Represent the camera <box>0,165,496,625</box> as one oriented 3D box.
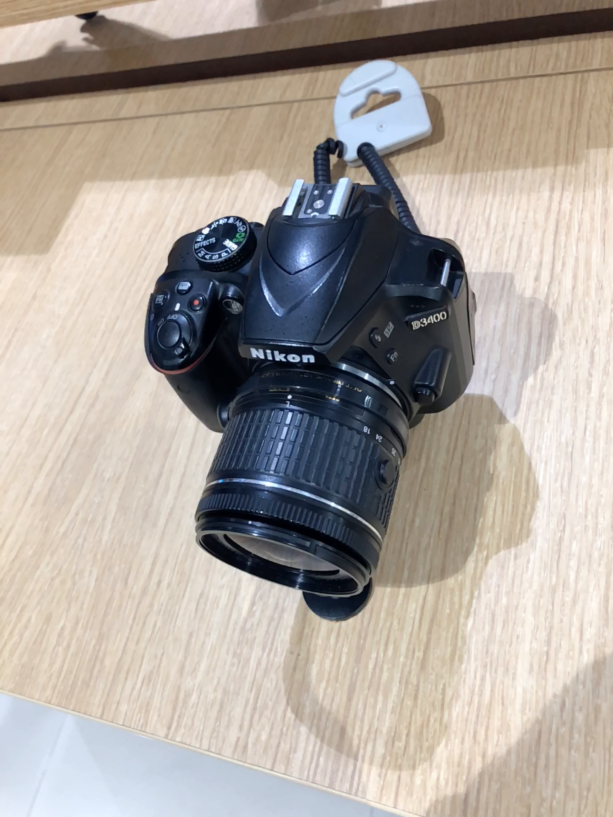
[{"bbox_3d":[-0.011,-0.007,0.242,0.133,0.084,0.120,5,61,22],"label":"camera"}]
